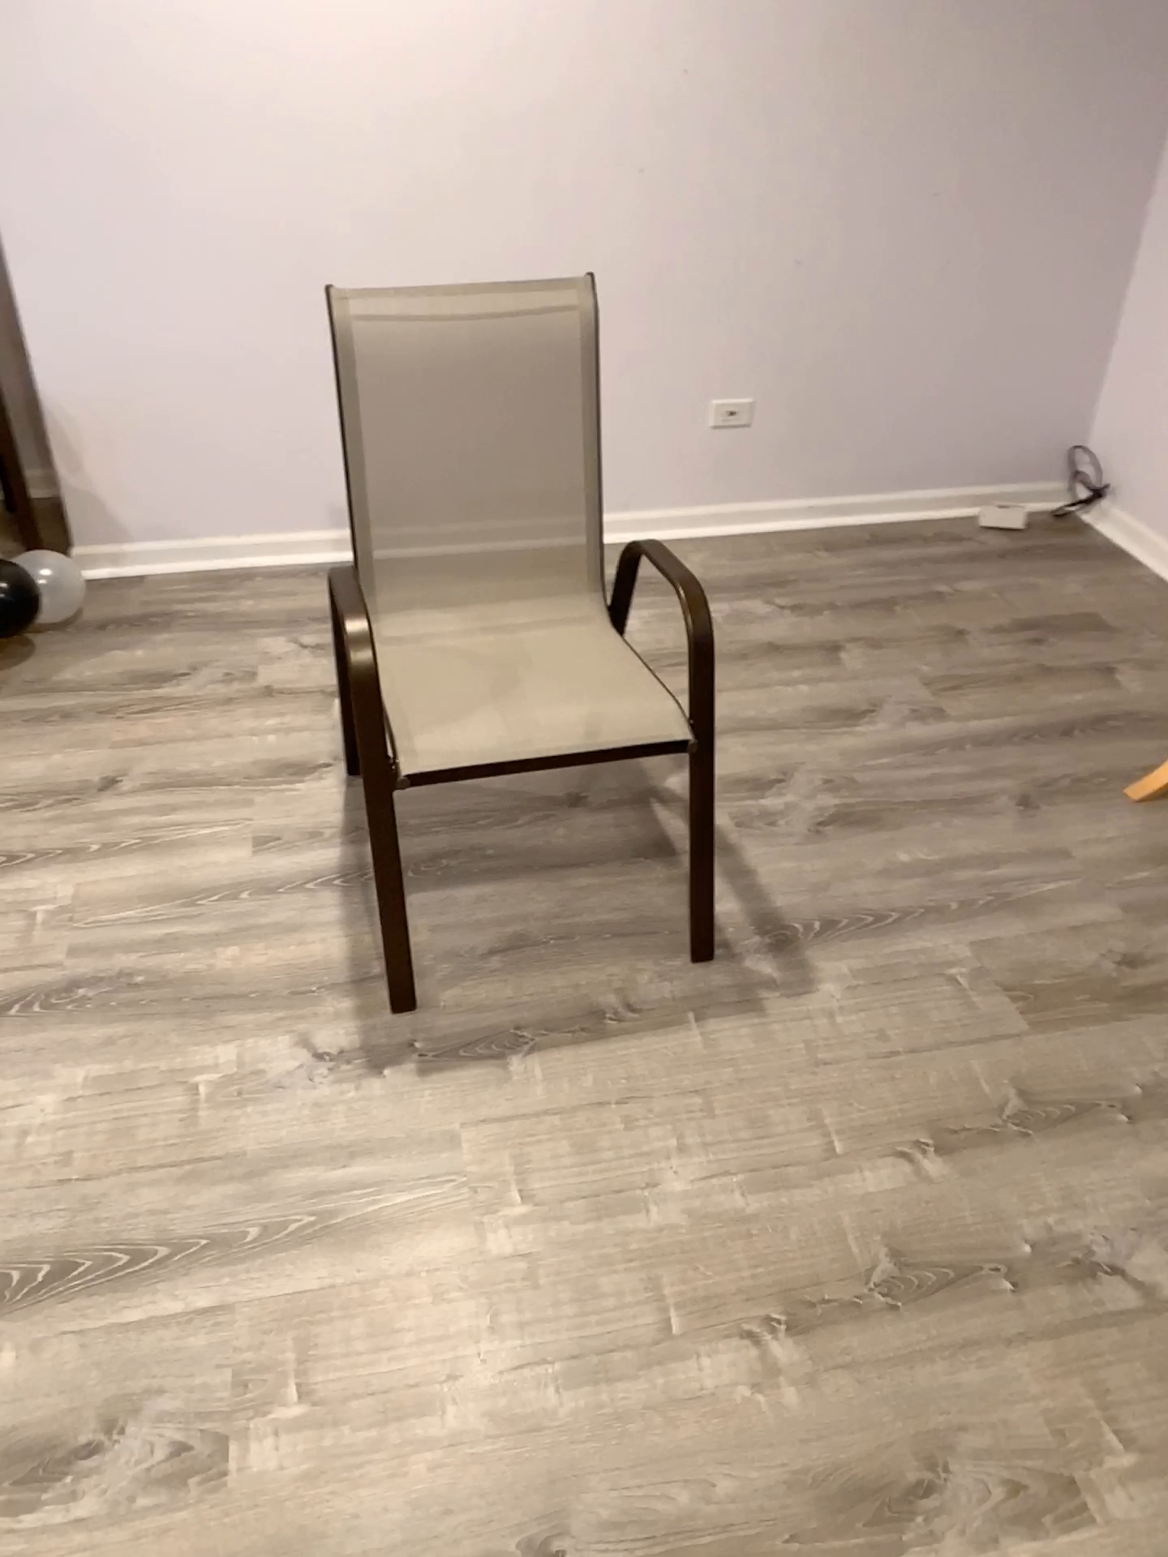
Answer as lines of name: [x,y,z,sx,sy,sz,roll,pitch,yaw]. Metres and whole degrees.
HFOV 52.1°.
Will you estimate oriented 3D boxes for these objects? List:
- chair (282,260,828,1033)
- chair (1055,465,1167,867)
chair: [-0.099,-0.235,1.801,0.565,0.873,0.720,-7,35,-13]
chair: [1.213,-0.214,2.125,0.424,0.526,0.438,-7,35,-13]
